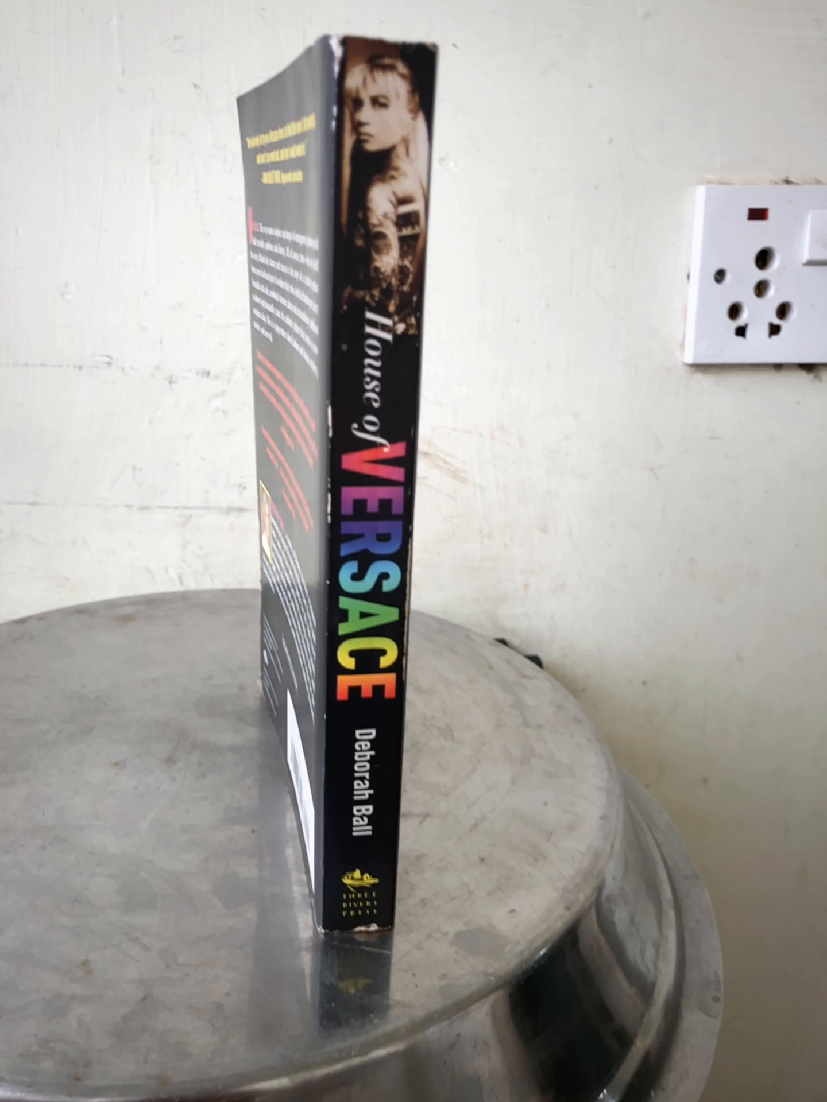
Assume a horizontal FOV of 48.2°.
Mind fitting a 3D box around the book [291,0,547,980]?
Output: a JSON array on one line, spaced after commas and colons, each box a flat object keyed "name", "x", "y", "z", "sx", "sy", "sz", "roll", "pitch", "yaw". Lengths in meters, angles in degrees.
[{"name": "book", "x": -0.014, "y": -0.027, "z": 0.282, "sx": 0.040, "sy": 0.219, "sz": 0.181, "roll": 1, "pitch": 17, "yaw": -8}]
